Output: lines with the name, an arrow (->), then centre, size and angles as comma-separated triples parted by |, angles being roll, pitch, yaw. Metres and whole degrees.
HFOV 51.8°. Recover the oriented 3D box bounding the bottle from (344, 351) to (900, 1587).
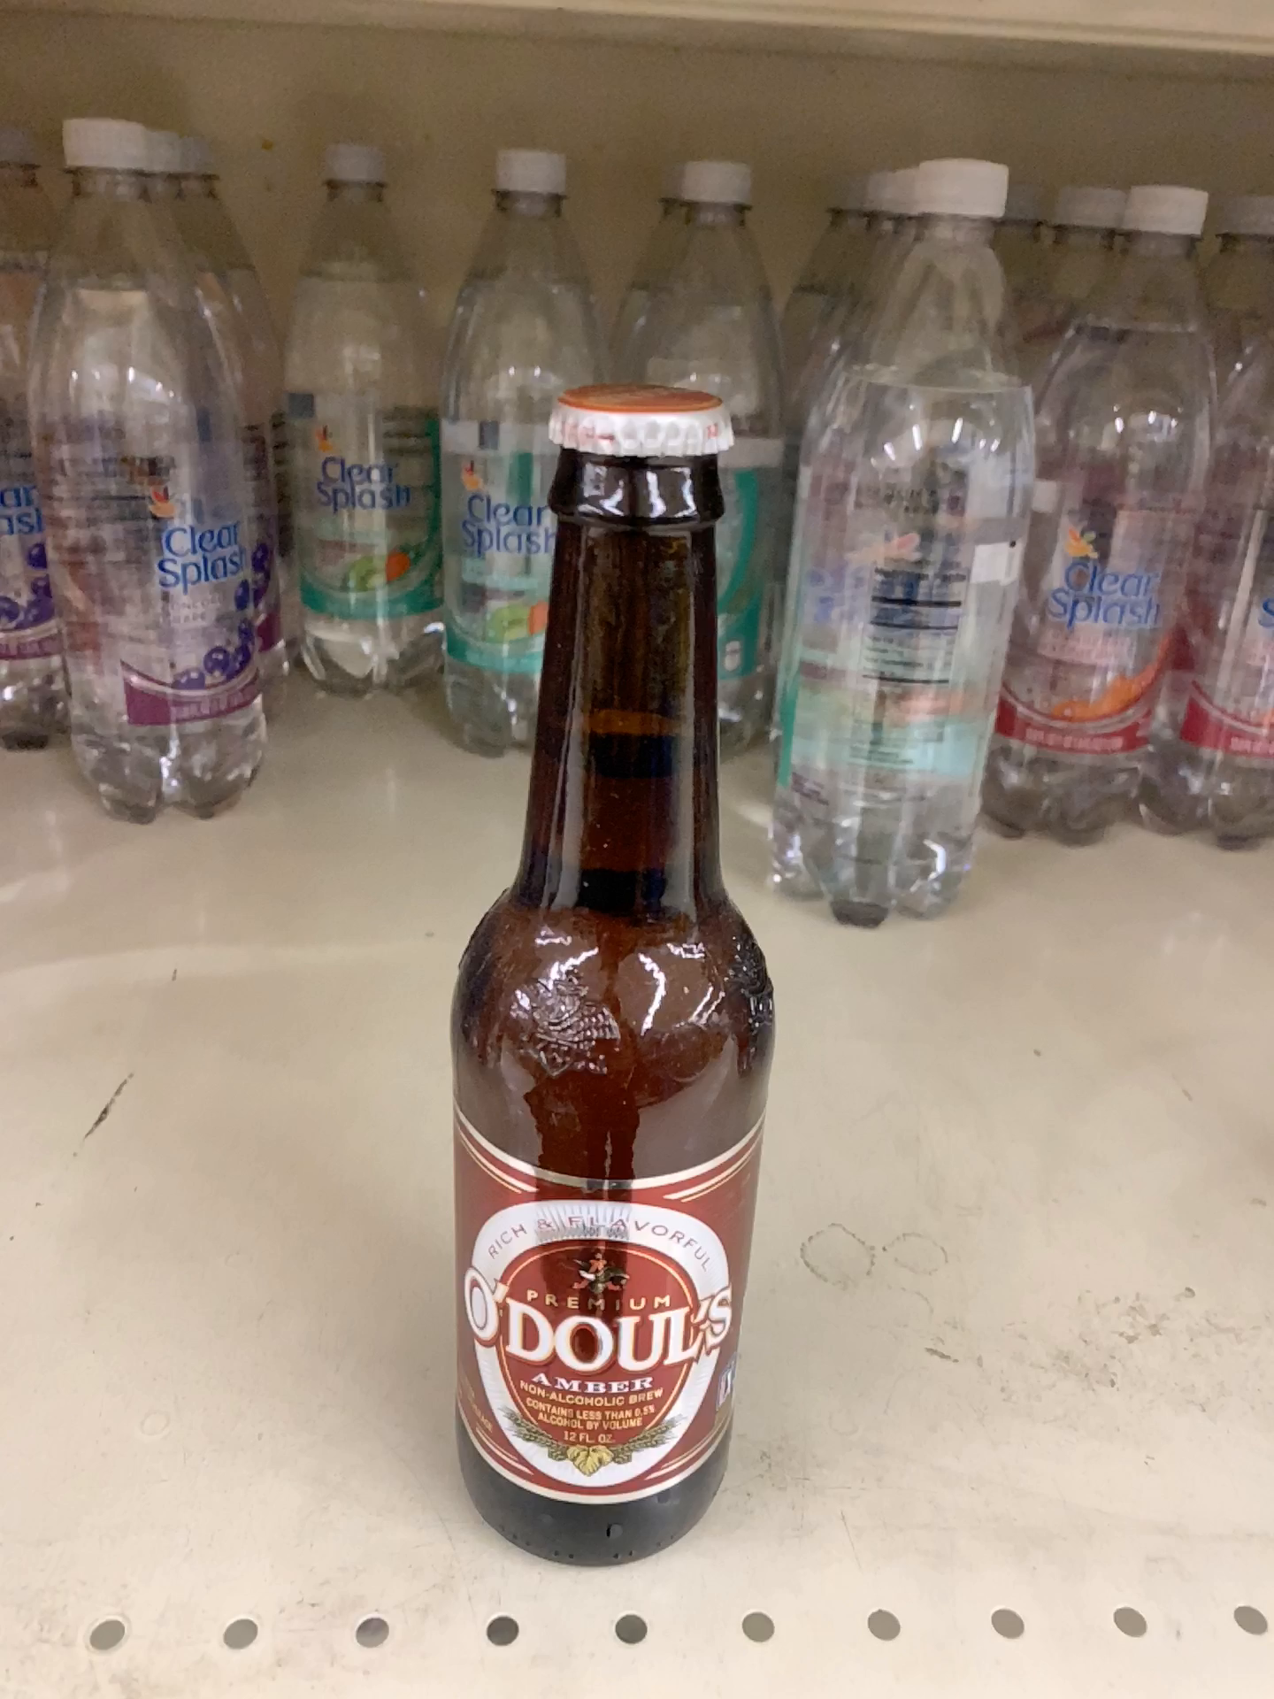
bottle -> -0.004, 0.030, 0.245 | 0.070, 0.219, 0.070 | 2, 27, -1
